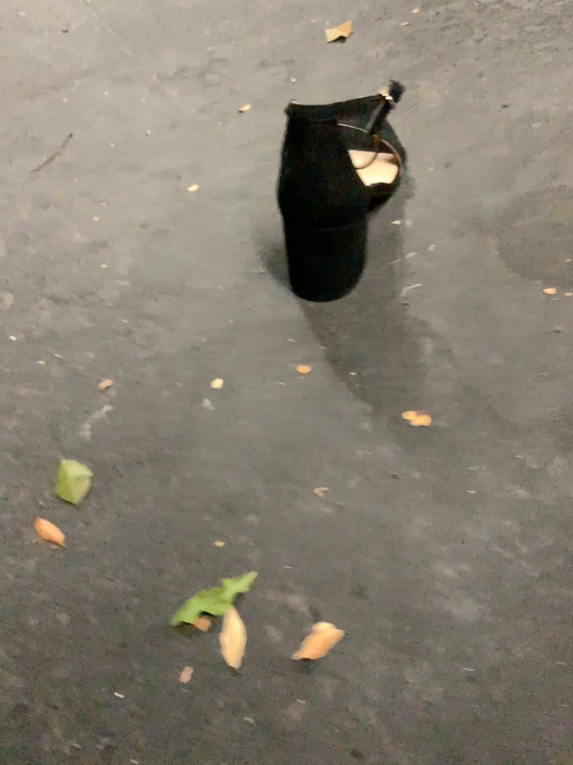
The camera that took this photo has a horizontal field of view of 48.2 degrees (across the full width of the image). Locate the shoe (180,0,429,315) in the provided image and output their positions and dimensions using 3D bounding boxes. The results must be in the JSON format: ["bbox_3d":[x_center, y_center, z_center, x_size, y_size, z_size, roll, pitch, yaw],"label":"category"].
[{"bbox_3d":[0.035,-0.203,0.499,0.120,0.140,0.270,5,54,15],"label":"shoe"}]
